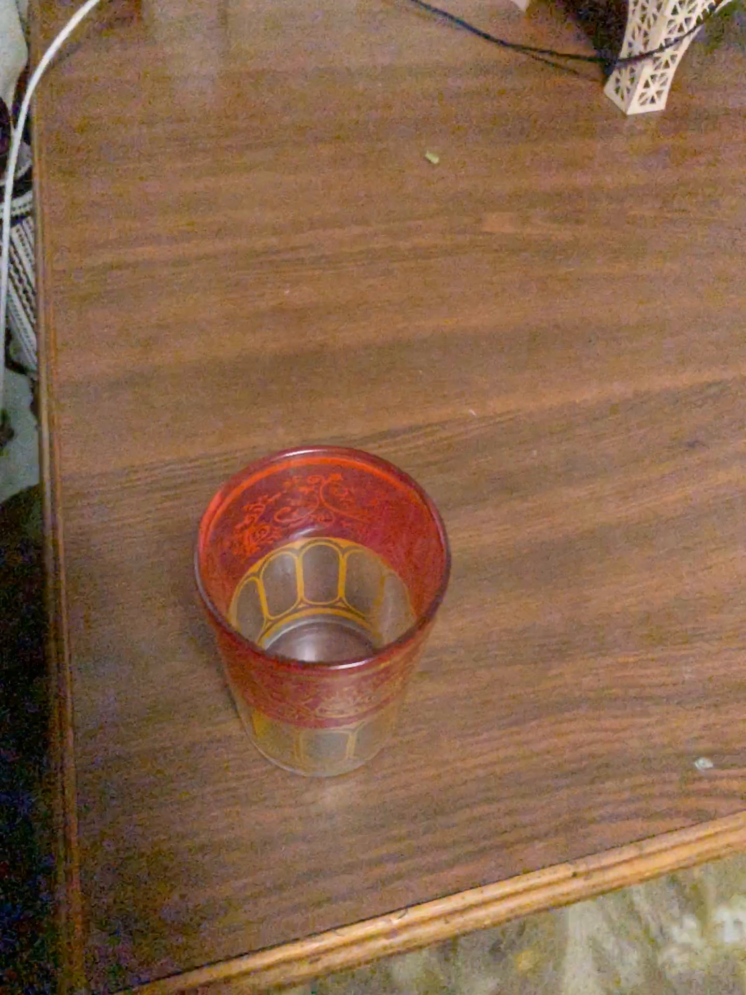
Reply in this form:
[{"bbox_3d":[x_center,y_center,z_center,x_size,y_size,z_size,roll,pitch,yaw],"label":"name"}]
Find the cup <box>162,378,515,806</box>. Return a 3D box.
[{"bbox_3d":[-0.013,0.031,0.224,0.067,0.099,0.070,2,54,-2],"label":"cup"}]
